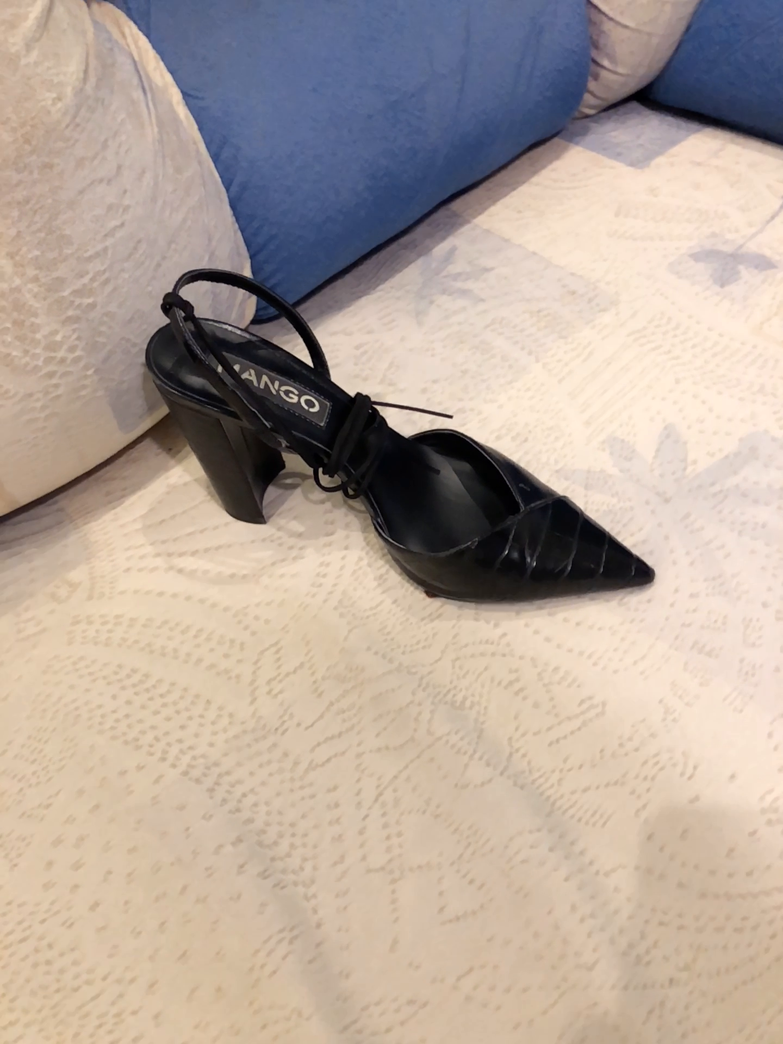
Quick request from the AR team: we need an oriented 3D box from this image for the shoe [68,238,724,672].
[{"bbox_3d":[0.003,-0.032,0.379,0.240,0.119,0.084,14,55,17],"label":"shoe"}]
